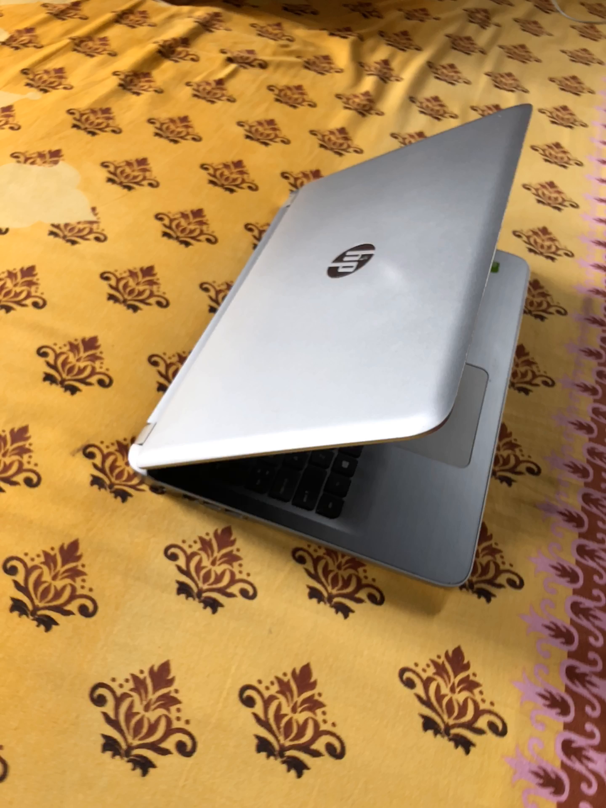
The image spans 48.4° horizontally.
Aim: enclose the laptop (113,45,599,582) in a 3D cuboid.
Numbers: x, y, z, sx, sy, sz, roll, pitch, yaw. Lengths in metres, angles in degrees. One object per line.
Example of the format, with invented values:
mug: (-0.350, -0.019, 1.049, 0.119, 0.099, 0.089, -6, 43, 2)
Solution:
laptop: (0.063, -0.100, 0.532, 0.249, 0.155, 0.374, 19, 52, 8)
